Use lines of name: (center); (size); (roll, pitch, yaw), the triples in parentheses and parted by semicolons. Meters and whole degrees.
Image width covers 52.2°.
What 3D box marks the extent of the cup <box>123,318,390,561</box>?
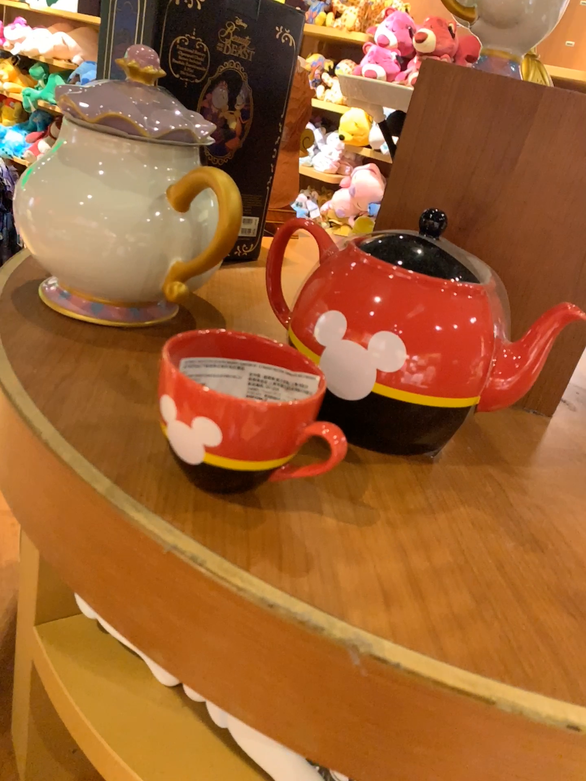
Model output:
cup: (-0.021, 0.017, 0.305); (0.100, 0.065, 0.078); (30, 29, 30)
